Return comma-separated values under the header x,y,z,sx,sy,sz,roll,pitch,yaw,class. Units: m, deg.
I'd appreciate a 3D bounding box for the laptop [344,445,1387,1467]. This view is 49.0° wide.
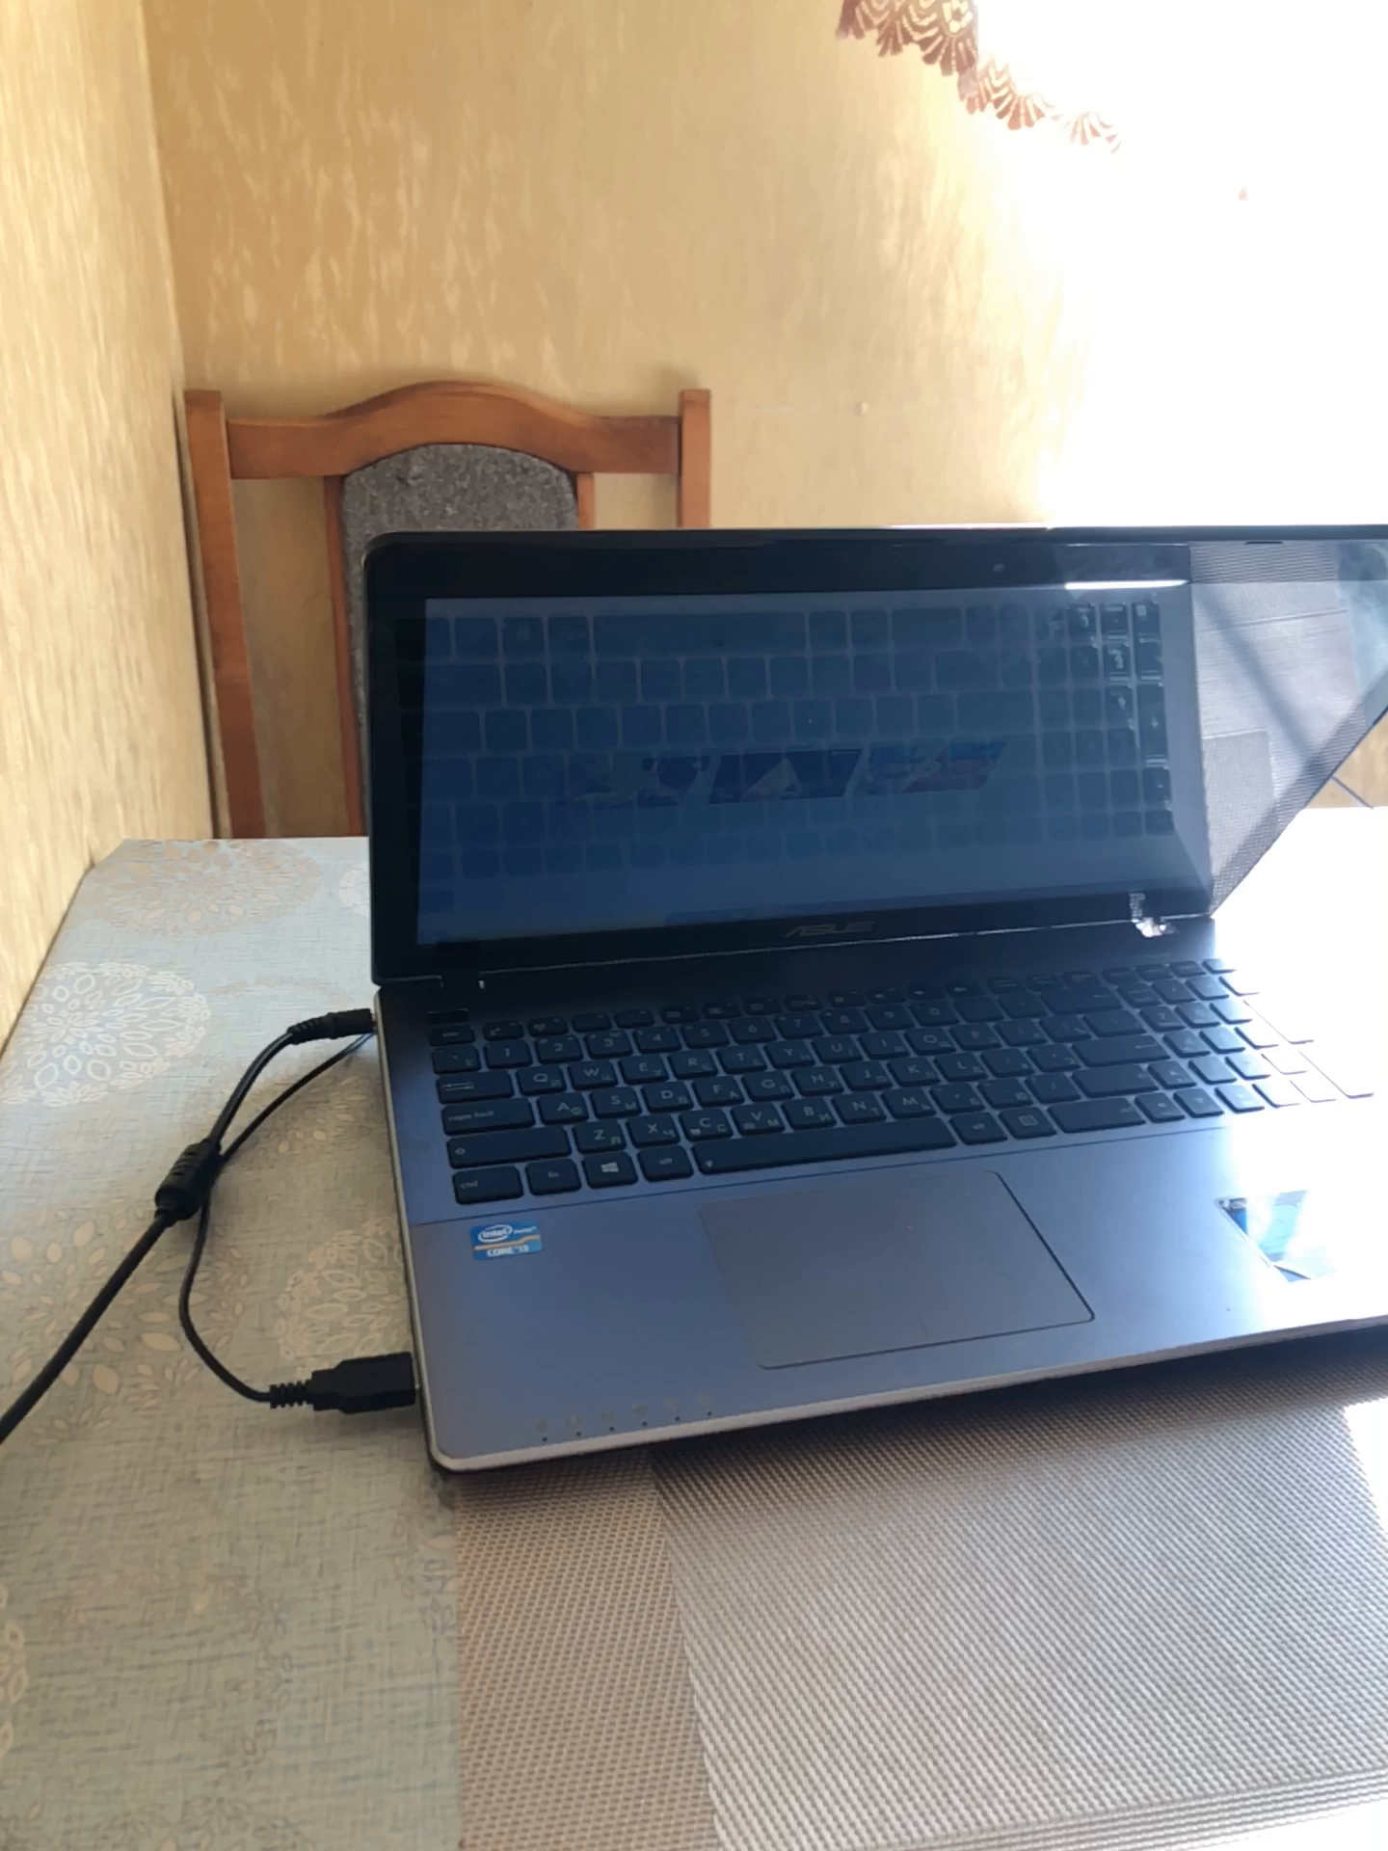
x,y,z,sx,sy,sz,roll,pitch,yaw,class
0.092,-0.026,0.485,0.370,0.196,0.243,-5,28,-14,laptop
